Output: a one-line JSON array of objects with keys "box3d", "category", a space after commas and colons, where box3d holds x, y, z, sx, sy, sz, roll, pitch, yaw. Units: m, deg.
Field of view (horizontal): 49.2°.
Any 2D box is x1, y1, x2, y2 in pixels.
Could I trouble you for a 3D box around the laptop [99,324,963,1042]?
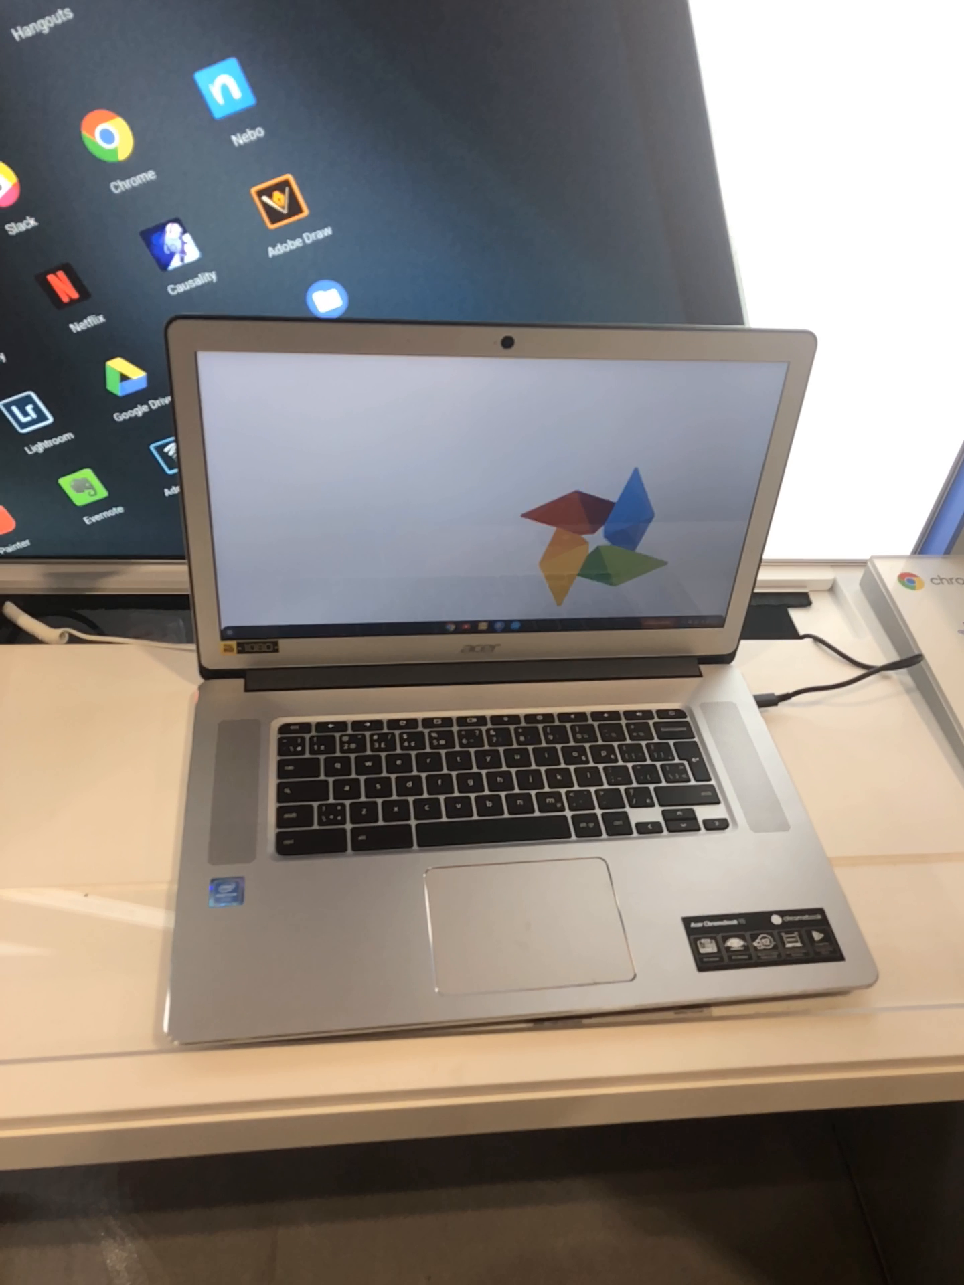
[{"box3d": [0.017, 0.009, 0.577, 0.371, 0.243, 0.283, -2, 43, -11], "category": "laptop"}]
